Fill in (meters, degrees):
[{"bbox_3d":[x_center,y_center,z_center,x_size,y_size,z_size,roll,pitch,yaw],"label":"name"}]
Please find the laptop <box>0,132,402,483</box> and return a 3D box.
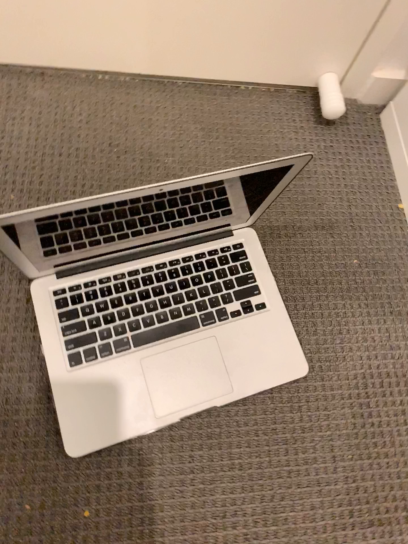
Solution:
[{"bbox_3d":[-0.029,0.037,0.457,0.322,0.215,0.226,-15,73,-14],"label":"laptop"}]
